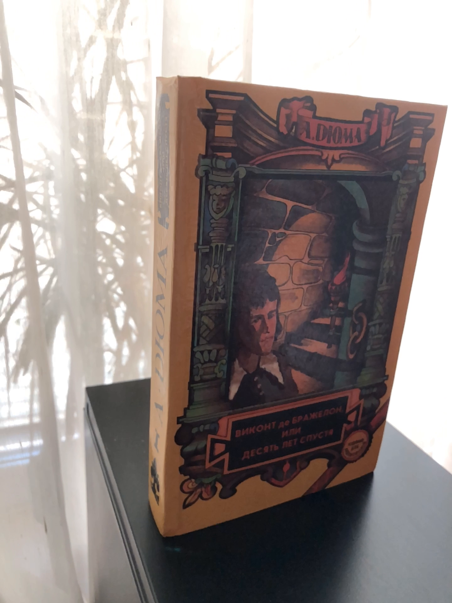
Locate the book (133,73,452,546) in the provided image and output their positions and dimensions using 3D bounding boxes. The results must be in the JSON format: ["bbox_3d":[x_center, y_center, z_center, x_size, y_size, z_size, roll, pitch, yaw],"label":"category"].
[{"bbox_3d":[0.032,0.004,0.245,0.141,0.198,0.040,-7,21,-24],"label":"book"}]
